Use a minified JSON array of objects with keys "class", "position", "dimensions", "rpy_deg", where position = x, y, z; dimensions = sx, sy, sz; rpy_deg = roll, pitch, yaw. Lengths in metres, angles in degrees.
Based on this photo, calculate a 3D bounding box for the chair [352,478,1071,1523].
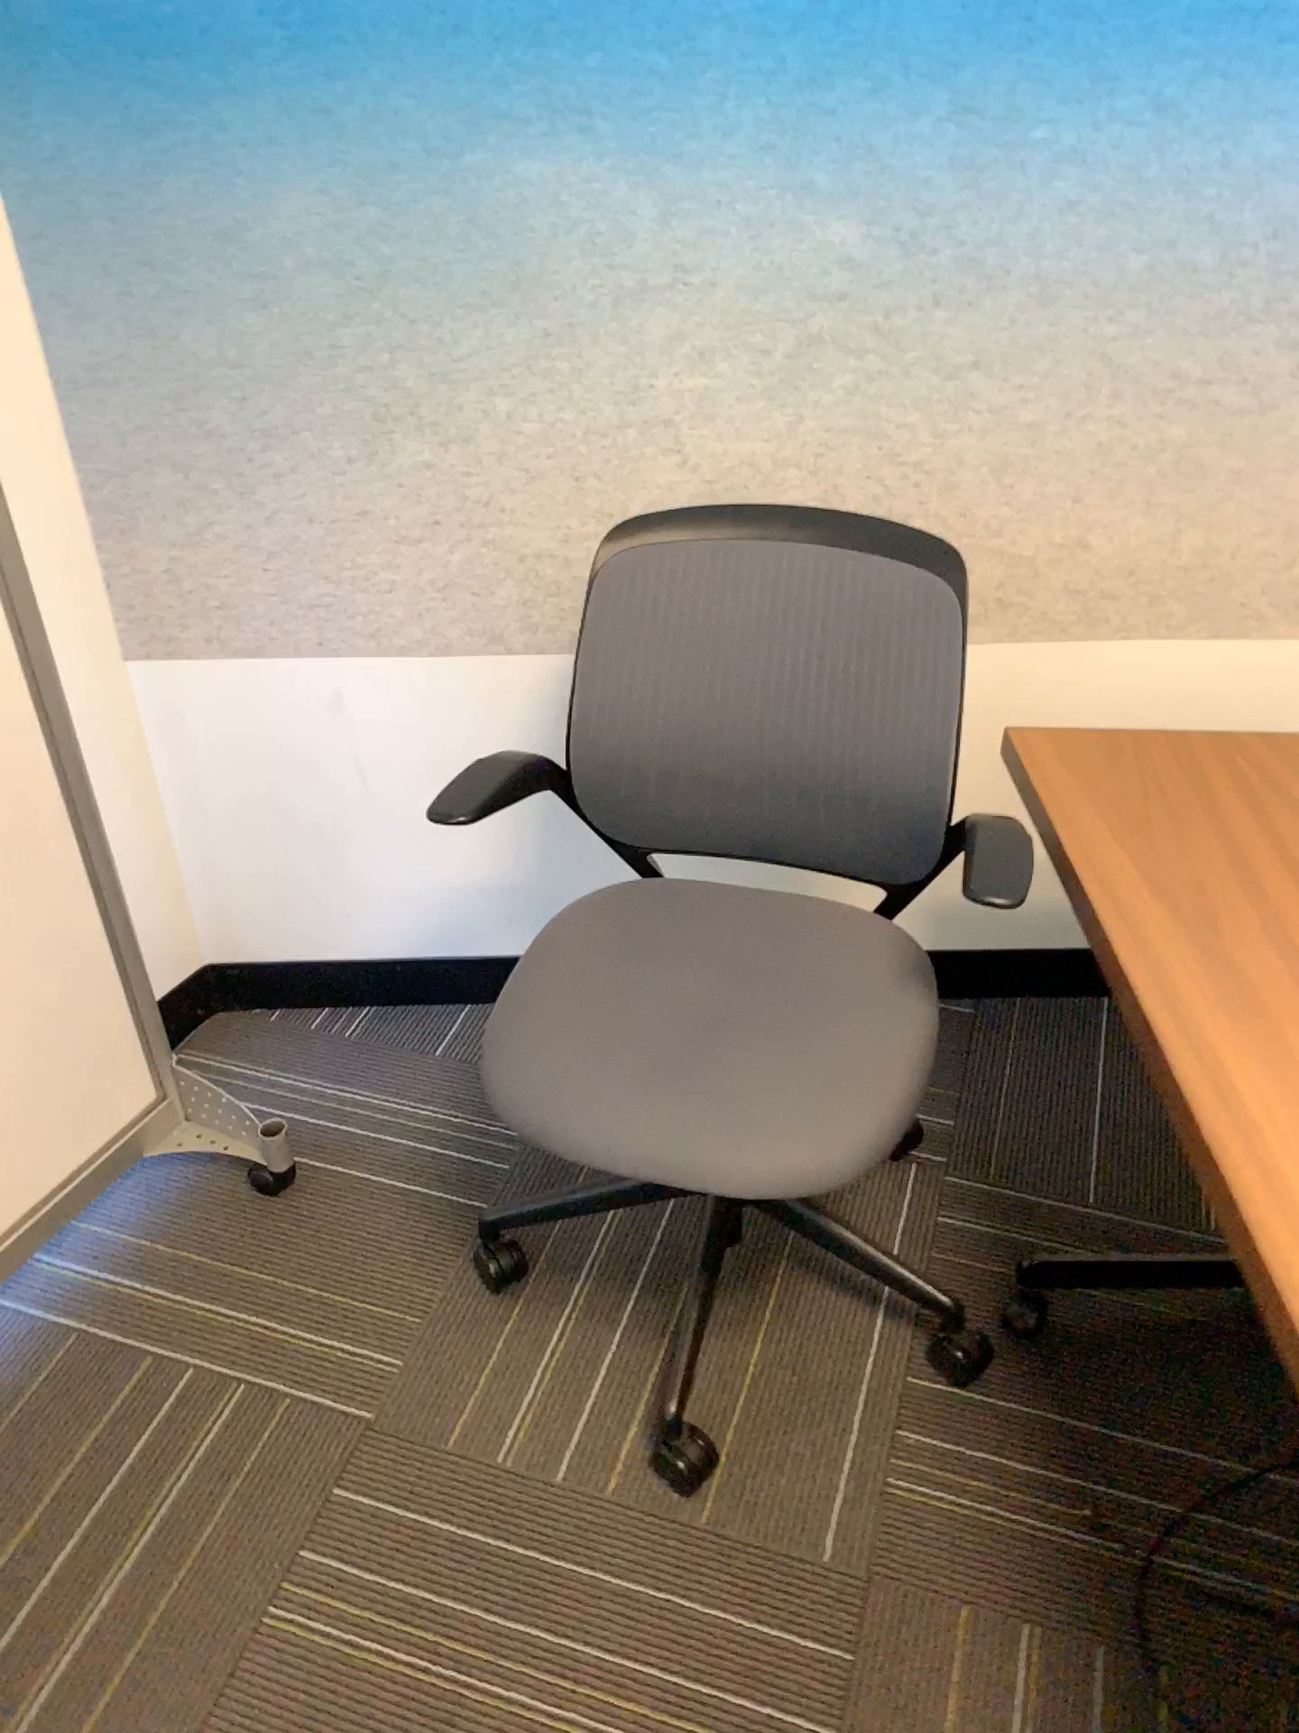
[{"class":"chair","position":[0.092,0.130,1.490],"dimensions":[0.541,0.935,0.532],"rpy_deg":[11,33,17]}]
